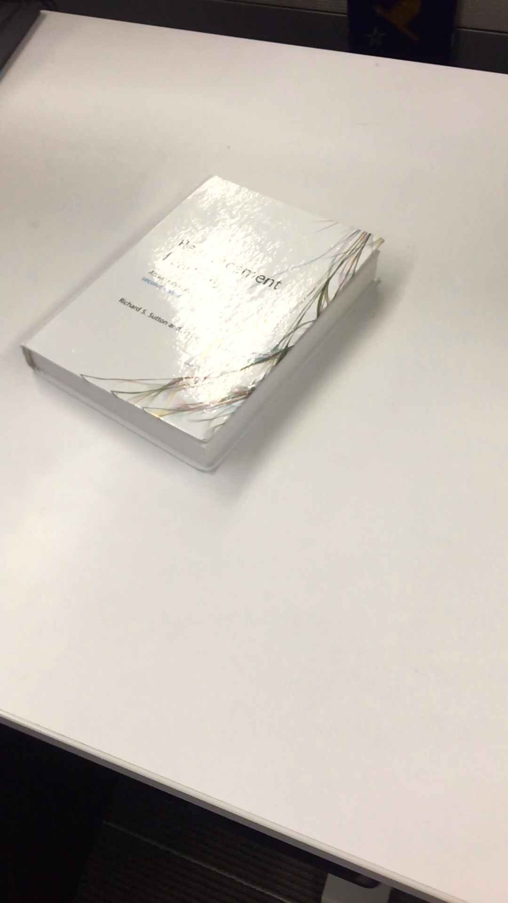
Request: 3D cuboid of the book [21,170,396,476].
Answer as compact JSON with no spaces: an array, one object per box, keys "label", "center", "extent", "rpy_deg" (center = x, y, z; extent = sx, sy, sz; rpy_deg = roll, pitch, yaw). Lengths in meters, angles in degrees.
[{"label":"book","center":[-0.029,-0.115,0.595],"extent":[0.180,0.030,0.240],"rpy_deg":[30,63,22]}]
